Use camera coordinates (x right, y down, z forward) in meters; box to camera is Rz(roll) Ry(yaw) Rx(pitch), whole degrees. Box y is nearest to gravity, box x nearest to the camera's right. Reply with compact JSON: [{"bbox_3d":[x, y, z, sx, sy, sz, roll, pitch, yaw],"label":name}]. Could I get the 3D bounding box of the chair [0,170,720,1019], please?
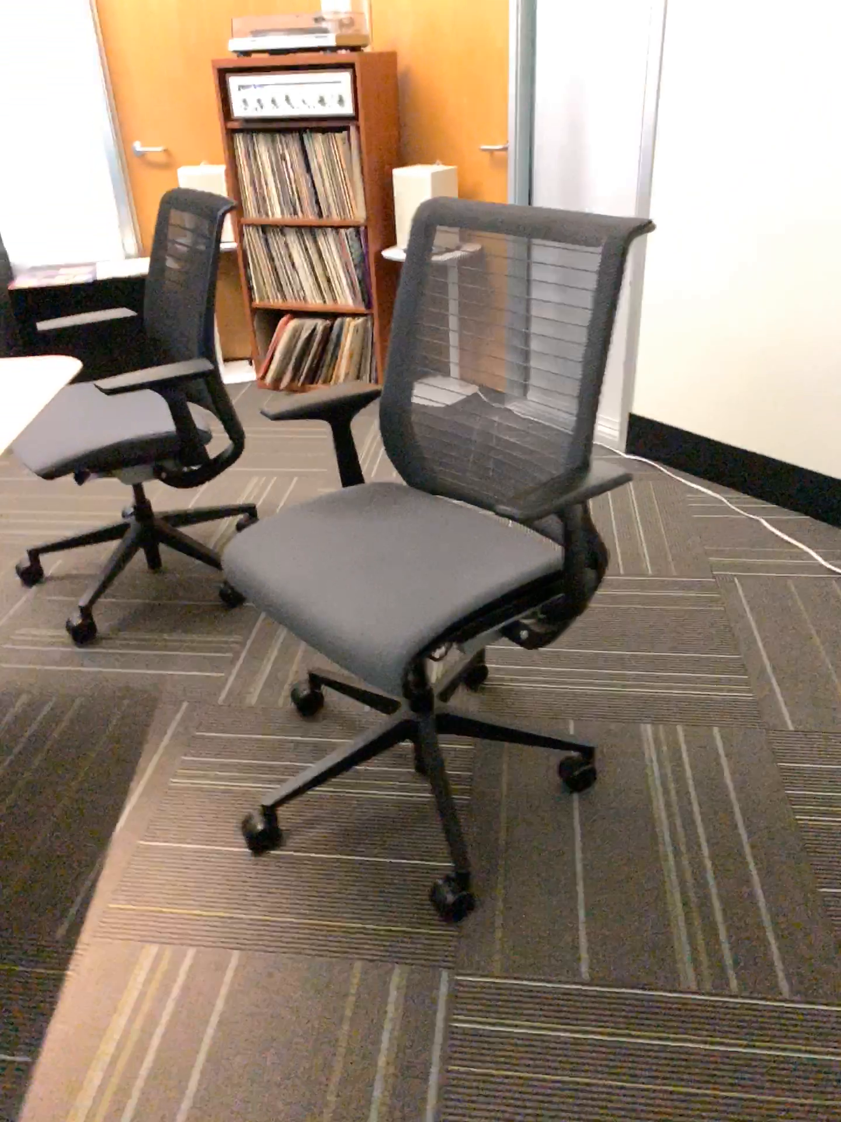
[{"bbox_3d":[-0.089,-0.040,1.571,0.793,1.113,0.802,25,40,38],"label":"chair"}]
